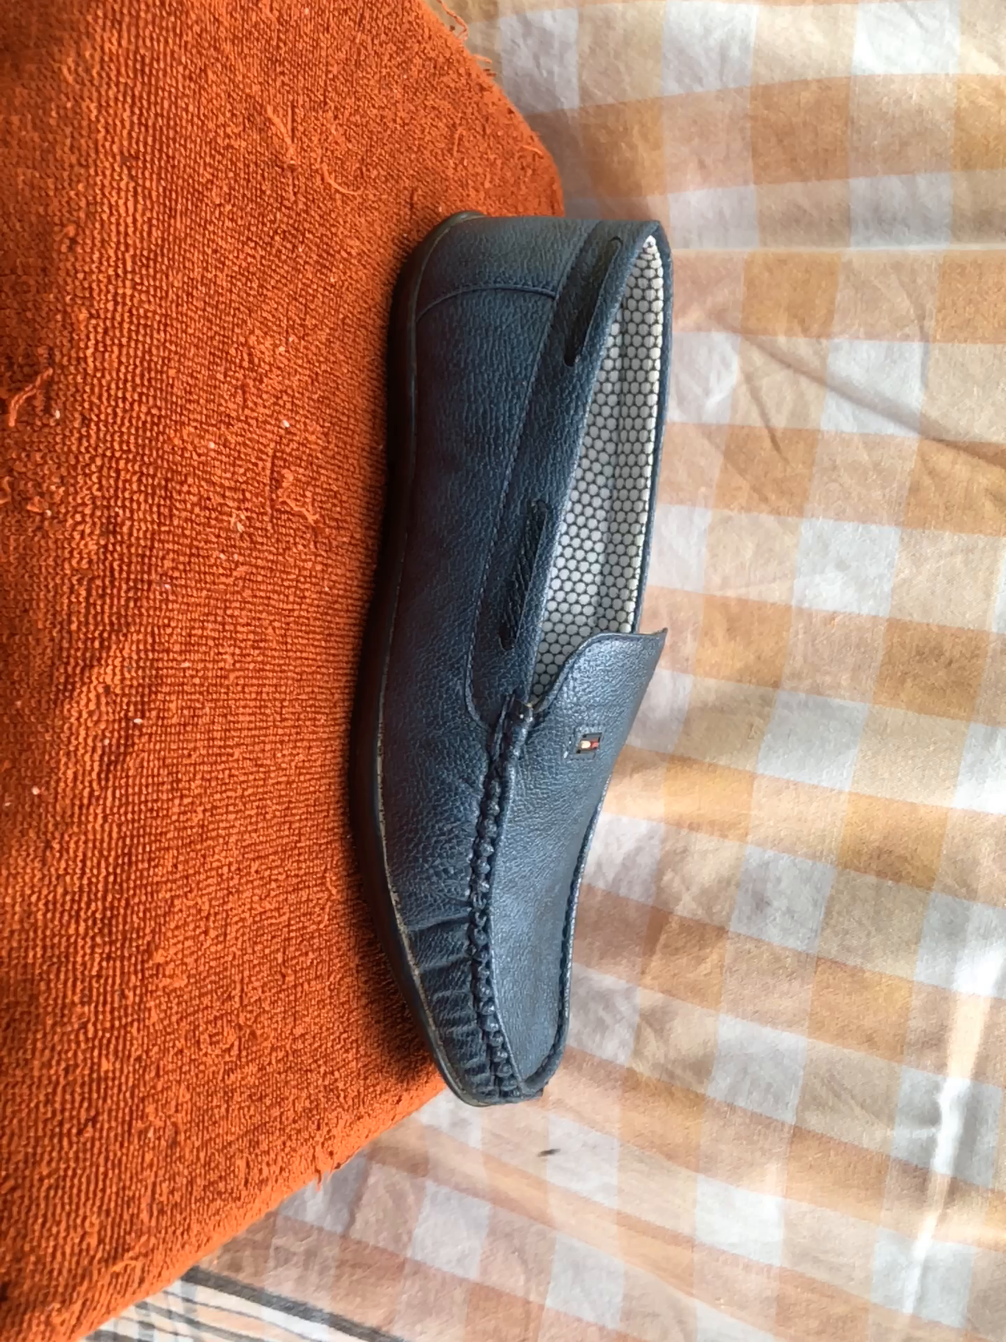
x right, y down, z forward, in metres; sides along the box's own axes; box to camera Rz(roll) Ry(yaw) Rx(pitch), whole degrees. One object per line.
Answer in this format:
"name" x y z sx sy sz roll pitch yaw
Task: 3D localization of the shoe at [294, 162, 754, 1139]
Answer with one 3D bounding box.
"shoe" 0.013 -0.008 0.360 0.101 0.089 0.260 6 90 -67
